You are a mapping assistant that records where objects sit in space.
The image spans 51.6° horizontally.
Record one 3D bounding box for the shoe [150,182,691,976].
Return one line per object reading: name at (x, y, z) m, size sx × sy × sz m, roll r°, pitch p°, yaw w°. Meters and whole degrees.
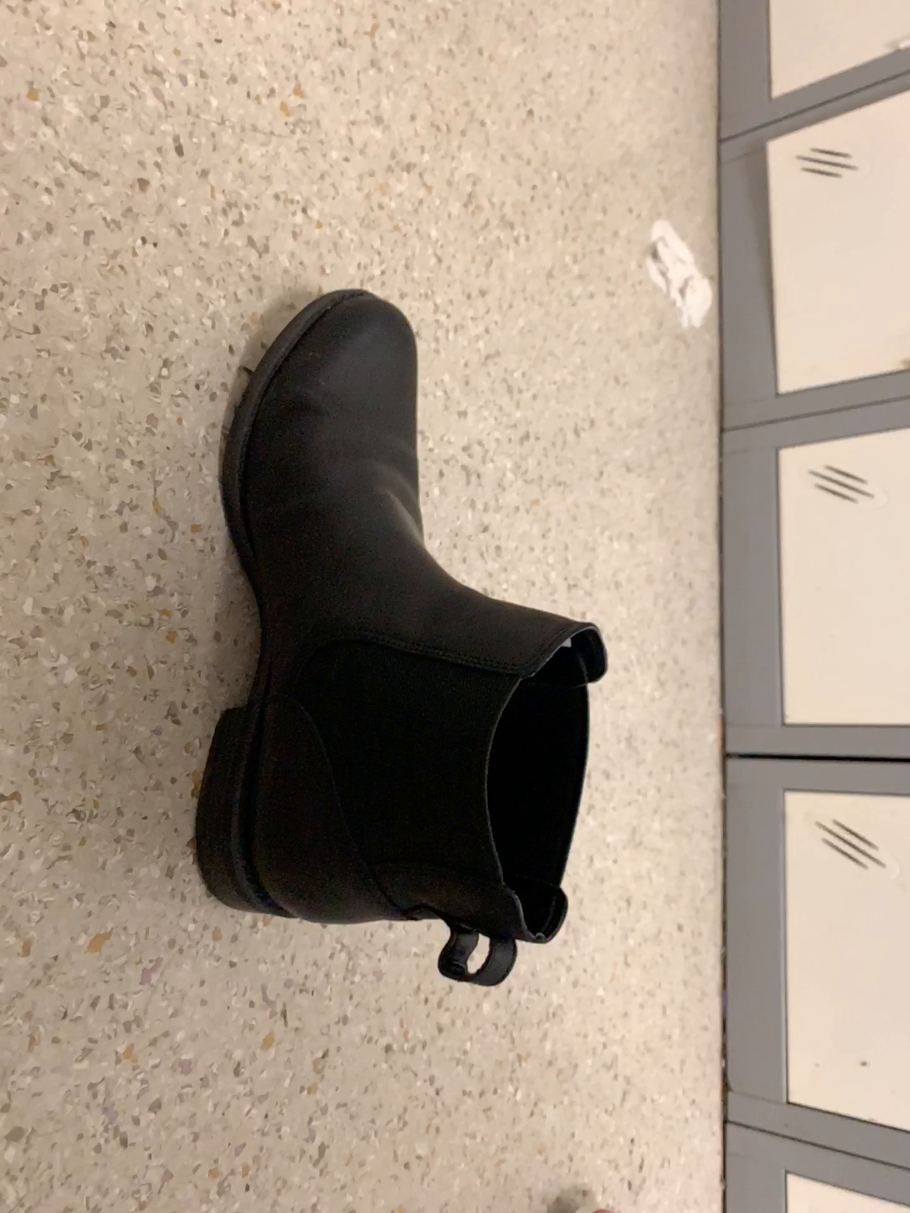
shoe at (-0.007, -0.004, 0.388) m, size 0.108 × 0.163 × 0.262 m, roll 23°, pitch 68°, yaw -51°
